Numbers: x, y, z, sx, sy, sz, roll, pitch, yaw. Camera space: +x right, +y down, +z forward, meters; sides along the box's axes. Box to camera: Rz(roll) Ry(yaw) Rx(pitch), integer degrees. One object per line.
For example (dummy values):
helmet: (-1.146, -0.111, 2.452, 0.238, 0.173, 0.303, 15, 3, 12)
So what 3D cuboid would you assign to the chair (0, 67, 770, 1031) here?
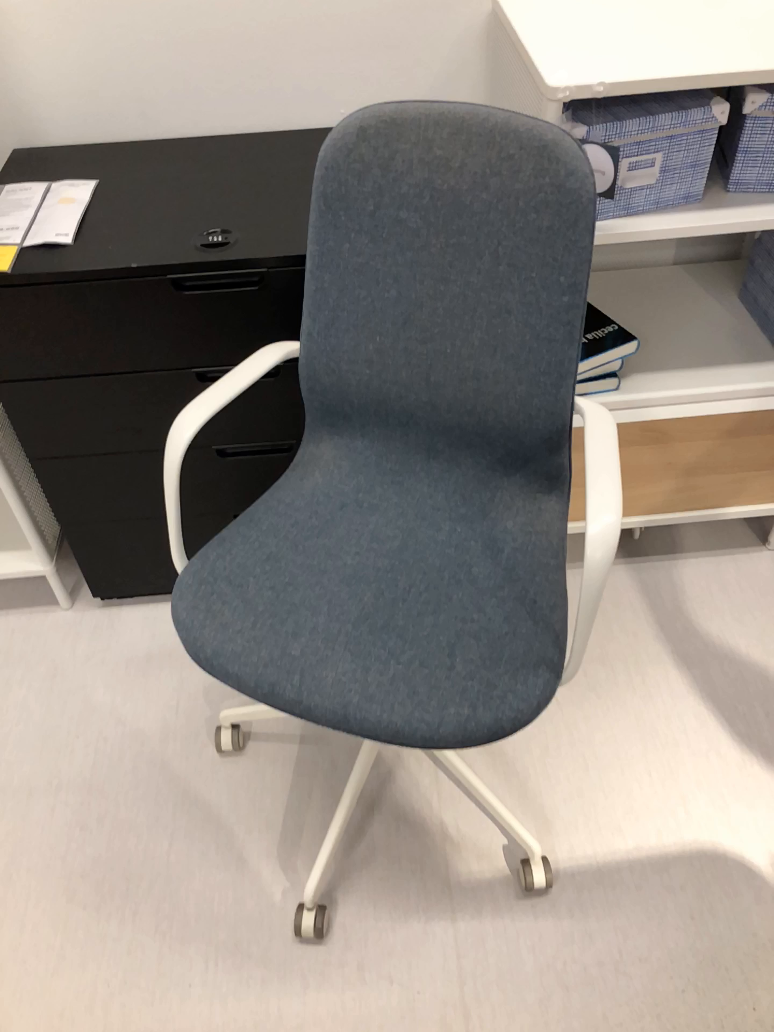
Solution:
chair: (-0.020, 0.075, 1.156, 0.701, 0.993, 0.704, 15, 49, 17)
